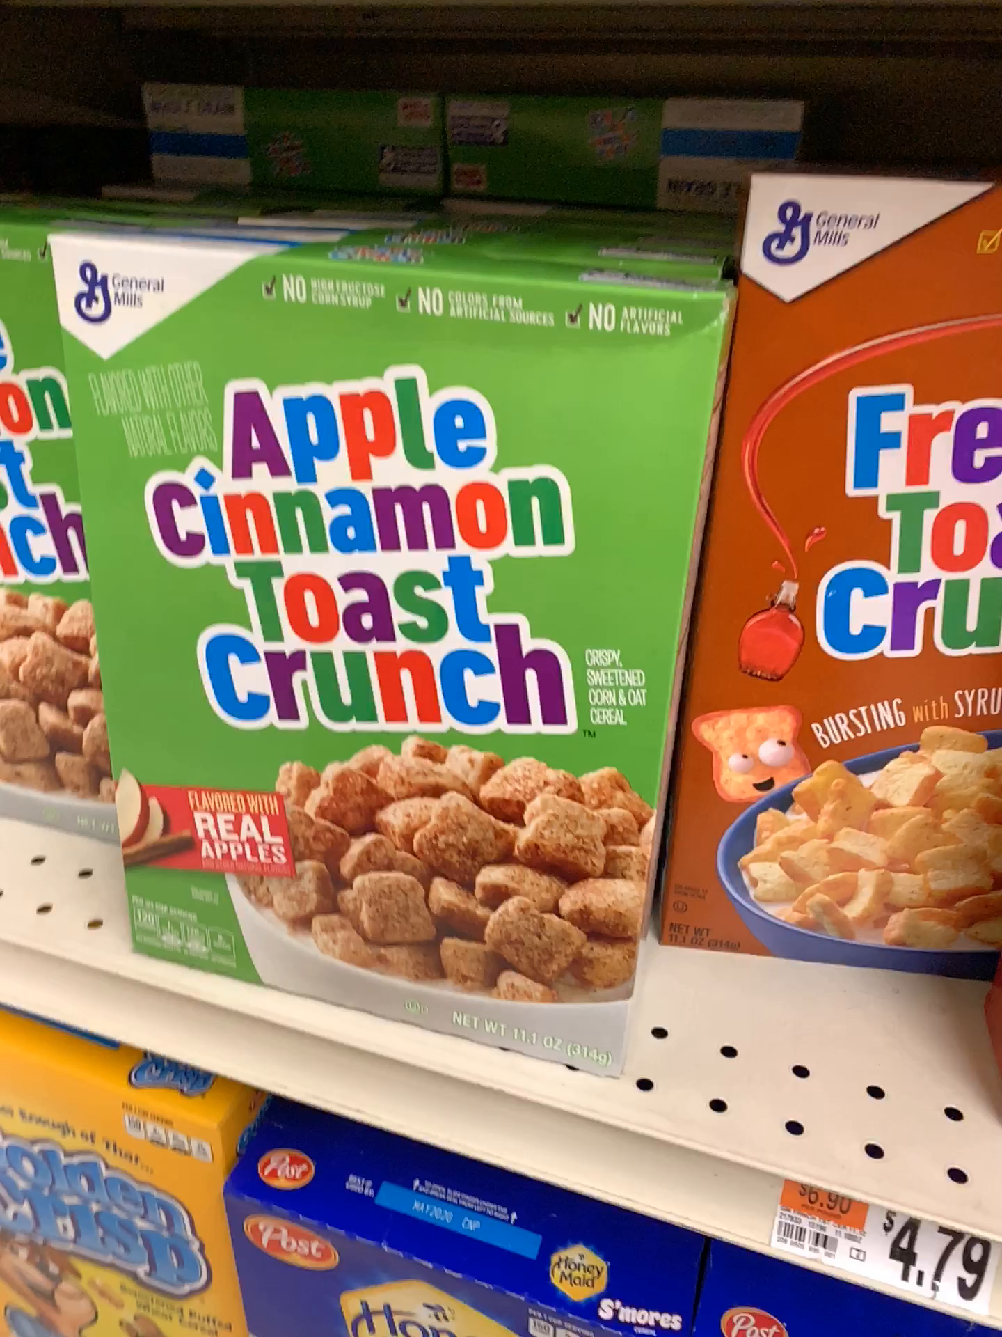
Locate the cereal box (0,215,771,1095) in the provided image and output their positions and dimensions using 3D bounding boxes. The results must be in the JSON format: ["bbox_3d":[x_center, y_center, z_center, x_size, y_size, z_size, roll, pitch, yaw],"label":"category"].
[{"bbox_3d":[-0.039,0.001,0.350,0.210,0.268,0.060,10,28,13],"label":"cereal box"}]
